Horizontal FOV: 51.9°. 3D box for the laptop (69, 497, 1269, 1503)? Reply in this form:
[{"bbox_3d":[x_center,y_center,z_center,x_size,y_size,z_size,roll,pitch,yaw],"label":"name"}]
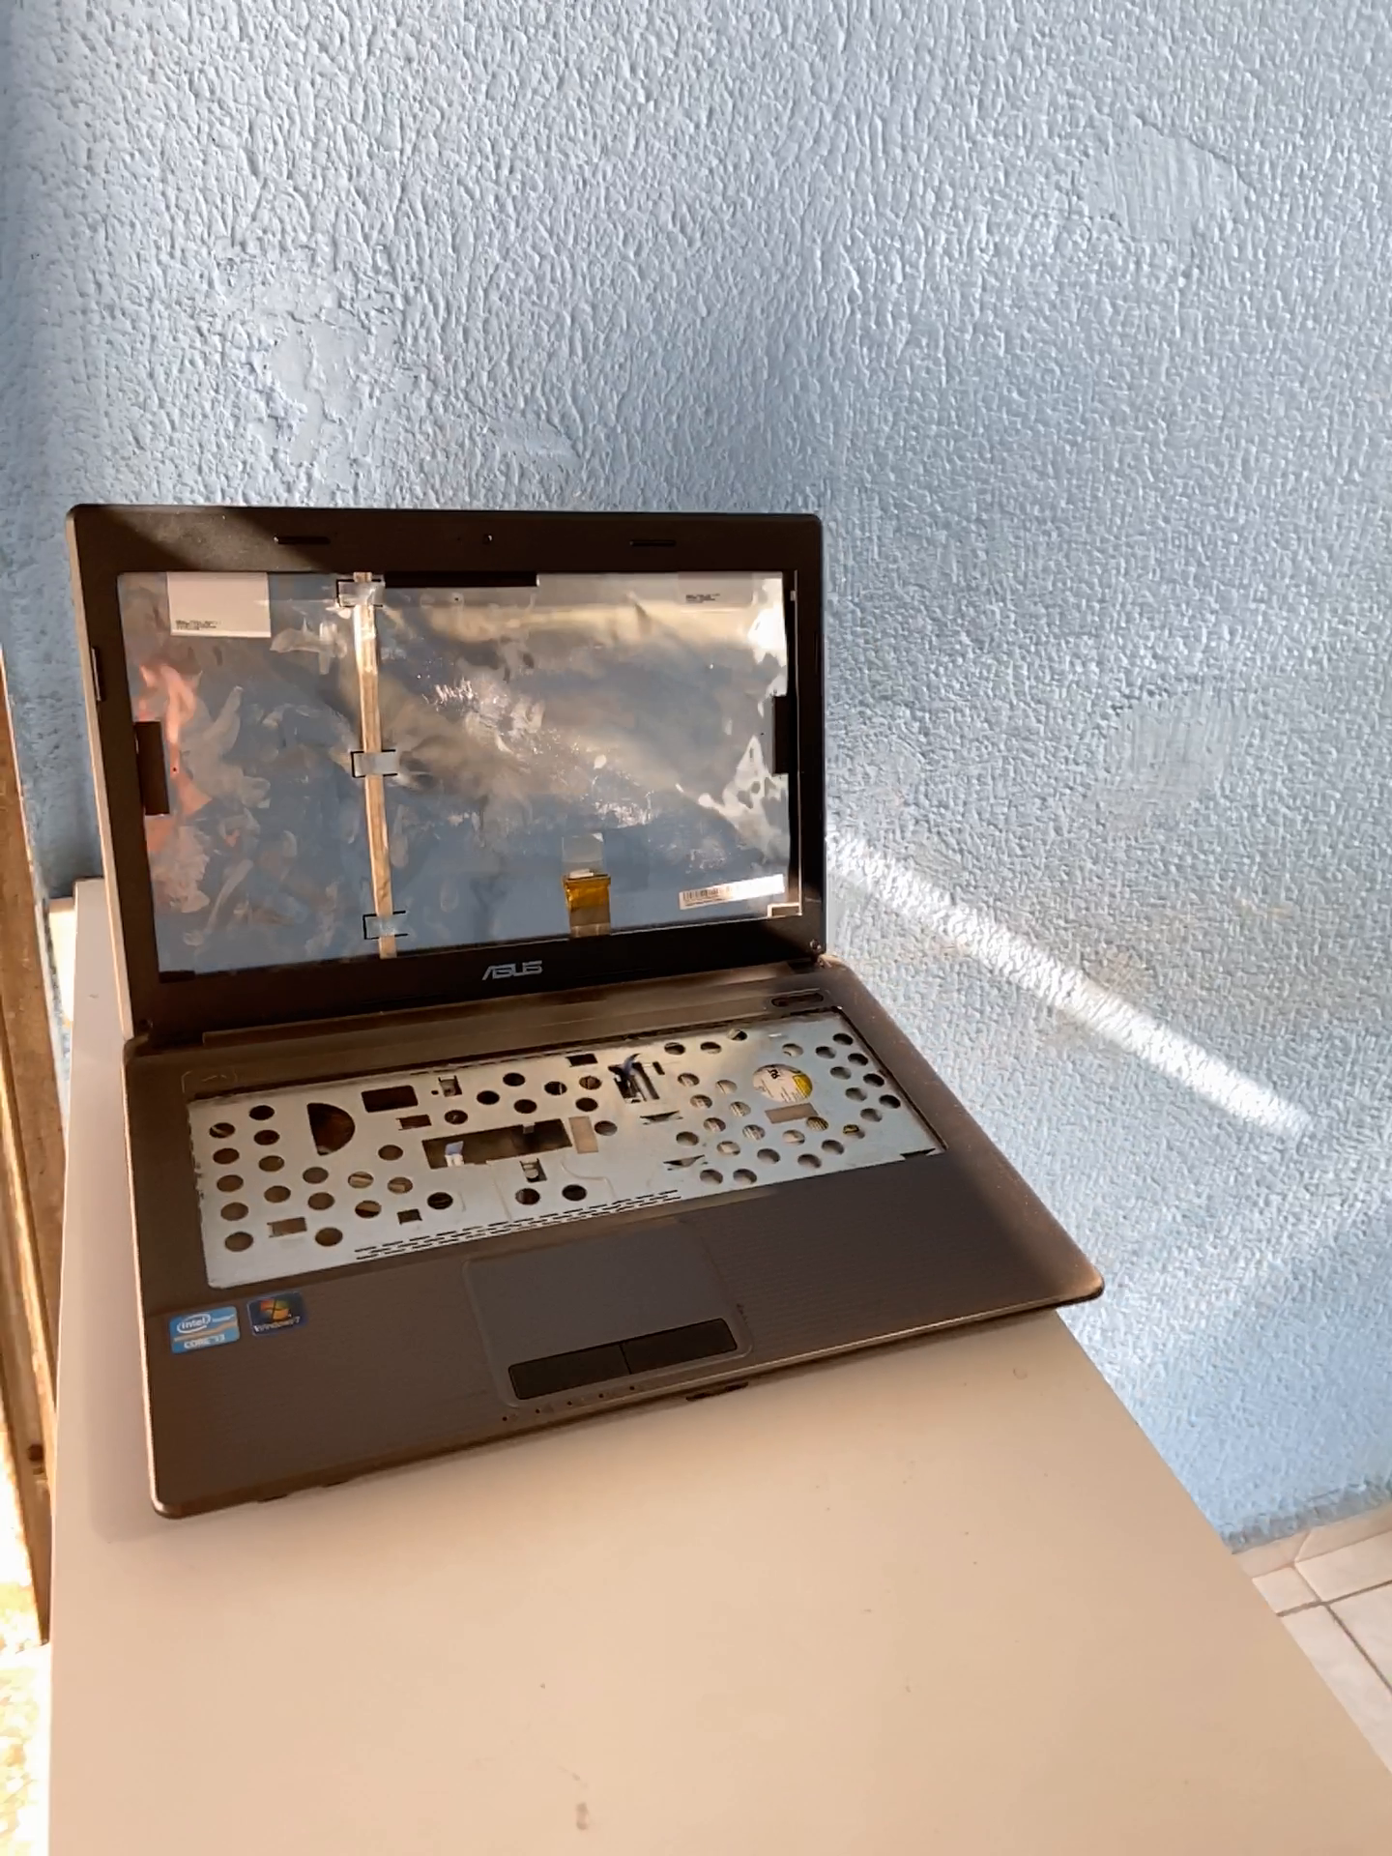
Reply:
[{"bbox_3d":[-0.049,-0.017,0.562,0.337,0.202,0.328,-6,33,-22],"label":"laptop"}]
